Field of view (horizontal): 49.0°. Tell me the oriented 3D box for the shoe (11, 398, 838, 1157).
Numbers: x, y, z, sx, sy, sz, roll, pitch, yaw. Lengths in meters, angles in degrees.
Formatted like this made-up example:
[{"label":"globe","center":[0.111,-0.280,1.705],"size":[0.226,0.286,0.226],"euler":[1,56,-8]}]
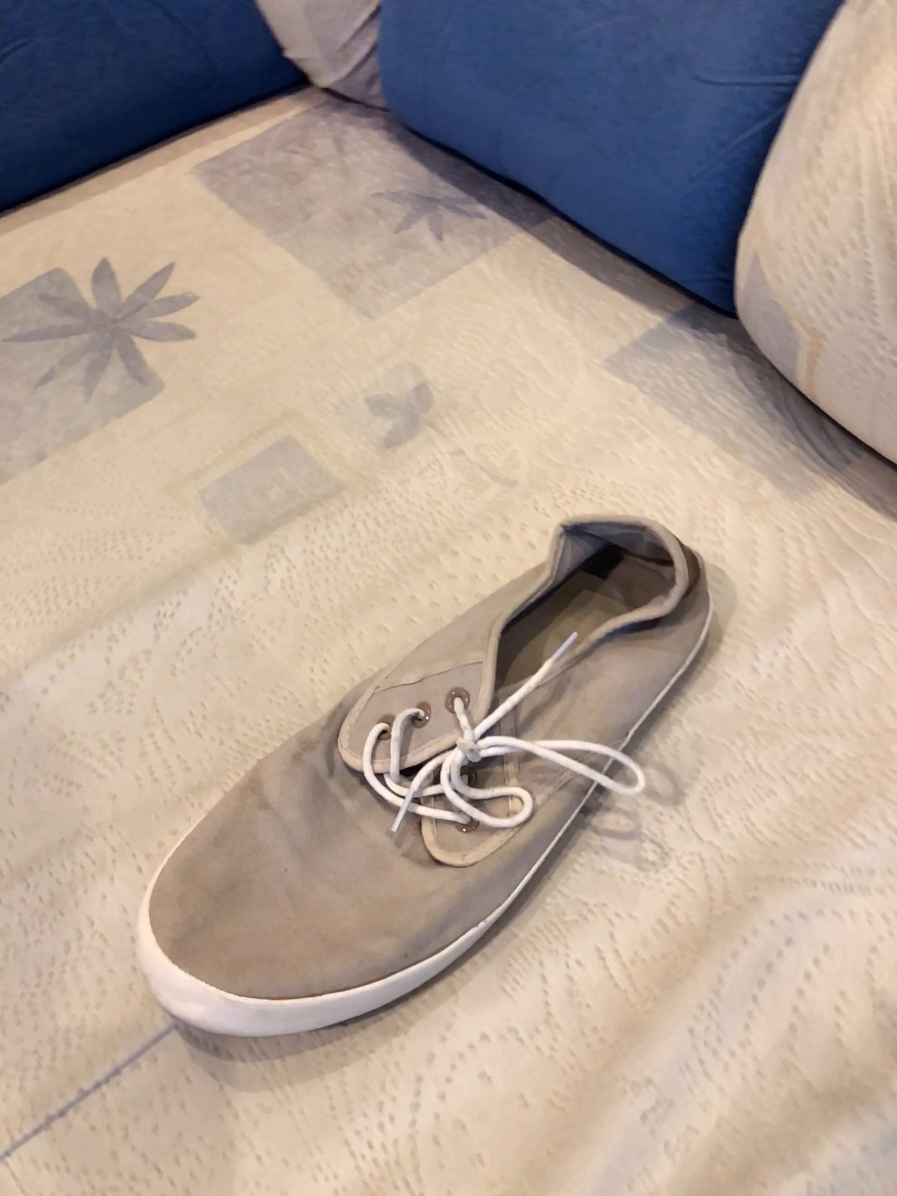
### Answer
[{"label":"shoe","center":[0.004,0.048,0.360],"size":[0.271,0.080,0.110],"euler":[-36,60,-22]}]
